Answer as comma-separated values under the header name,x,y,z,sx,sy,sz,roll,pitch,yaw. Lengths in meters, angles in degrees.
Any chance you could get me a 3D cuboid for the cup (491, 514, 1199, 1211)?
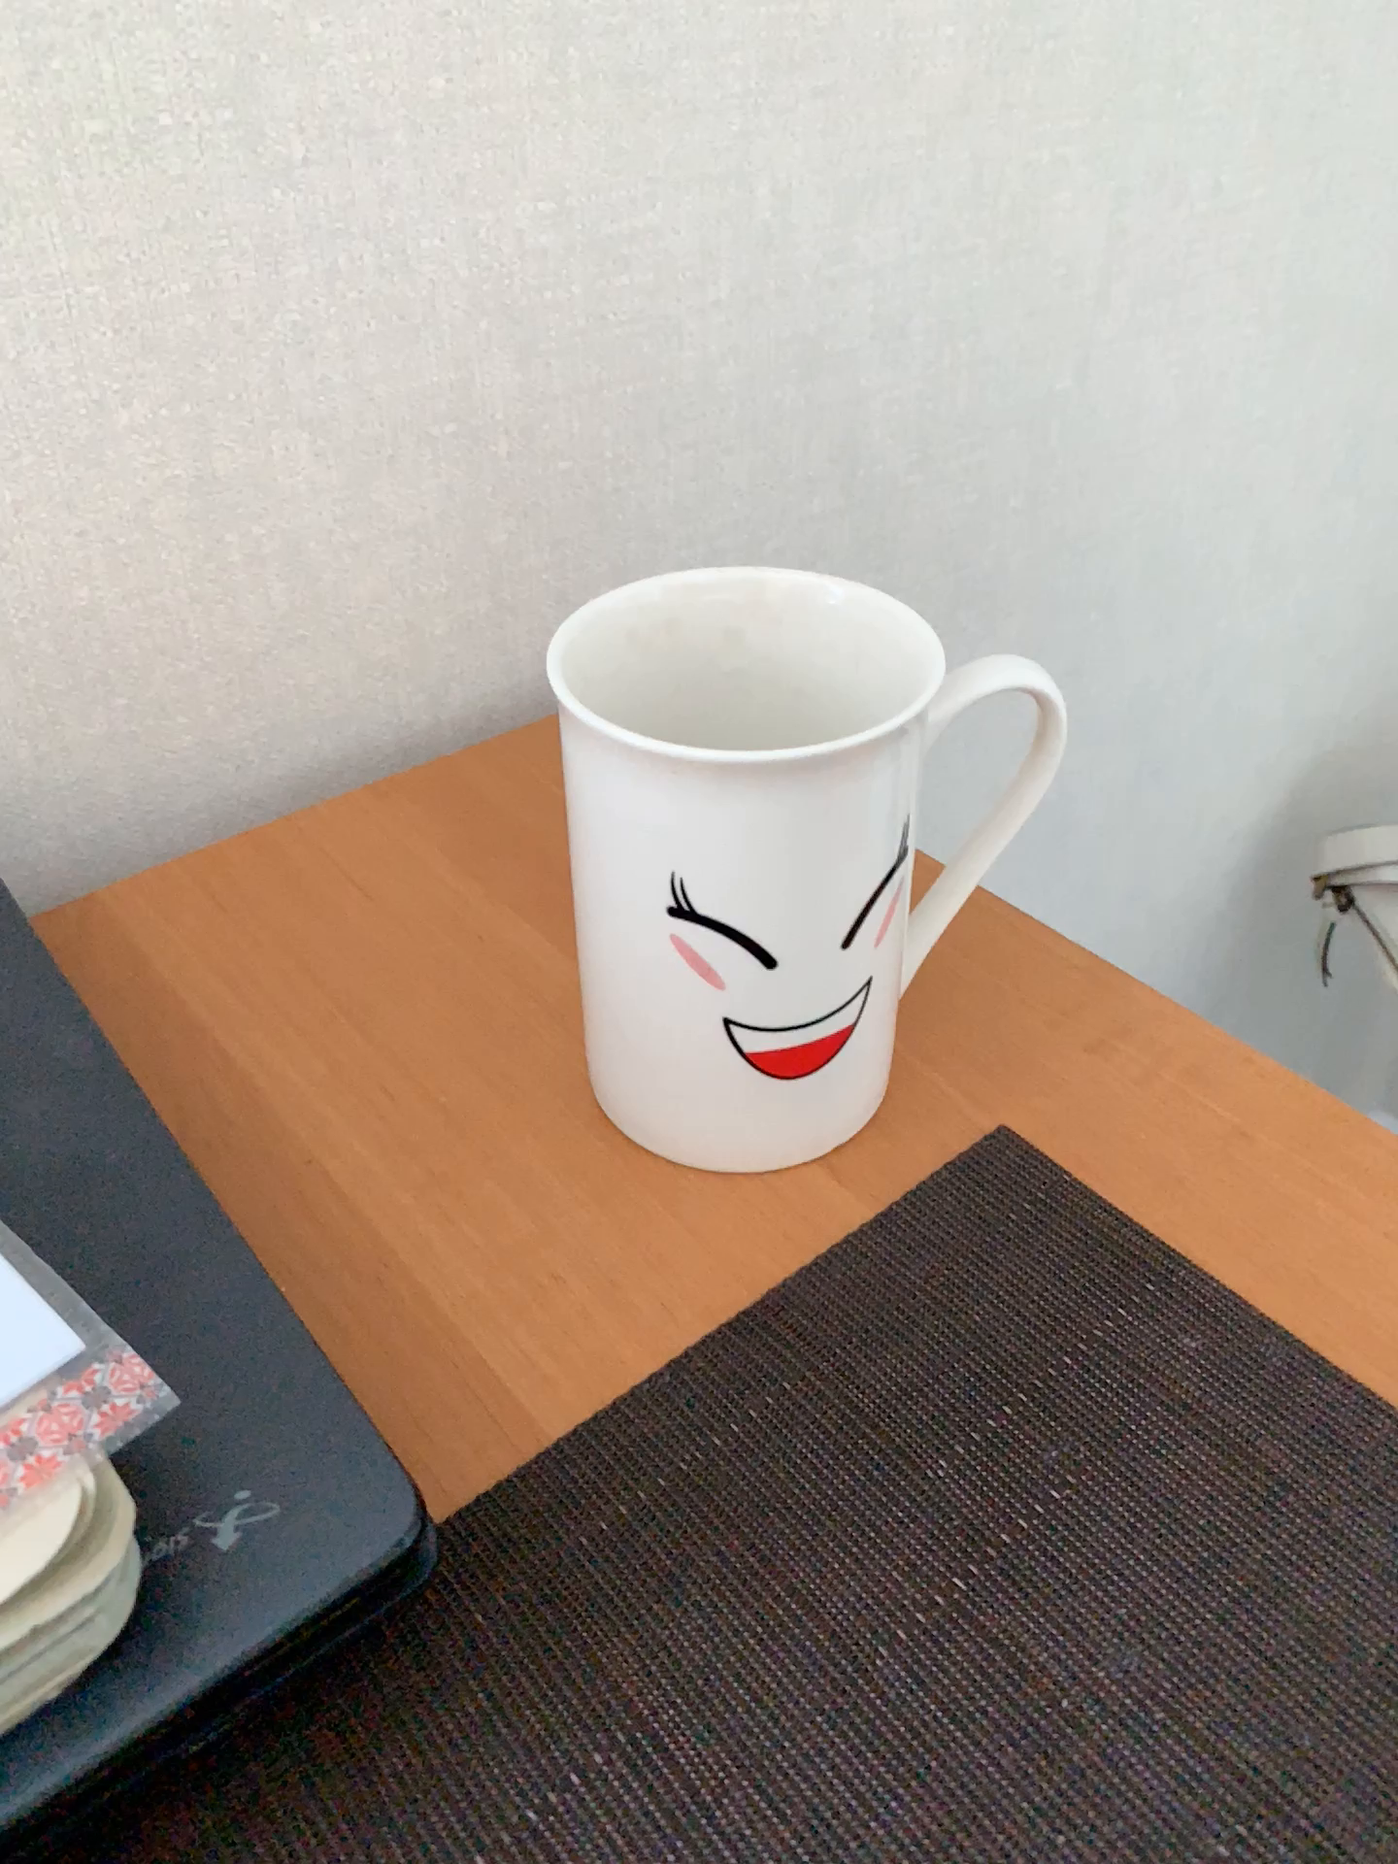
name,x,y,z,sx,sy,sz,roll,pitch,yaw
cup,0.024,-0.018,0.295,0.107,0.095,0.080,-13,37,-16
